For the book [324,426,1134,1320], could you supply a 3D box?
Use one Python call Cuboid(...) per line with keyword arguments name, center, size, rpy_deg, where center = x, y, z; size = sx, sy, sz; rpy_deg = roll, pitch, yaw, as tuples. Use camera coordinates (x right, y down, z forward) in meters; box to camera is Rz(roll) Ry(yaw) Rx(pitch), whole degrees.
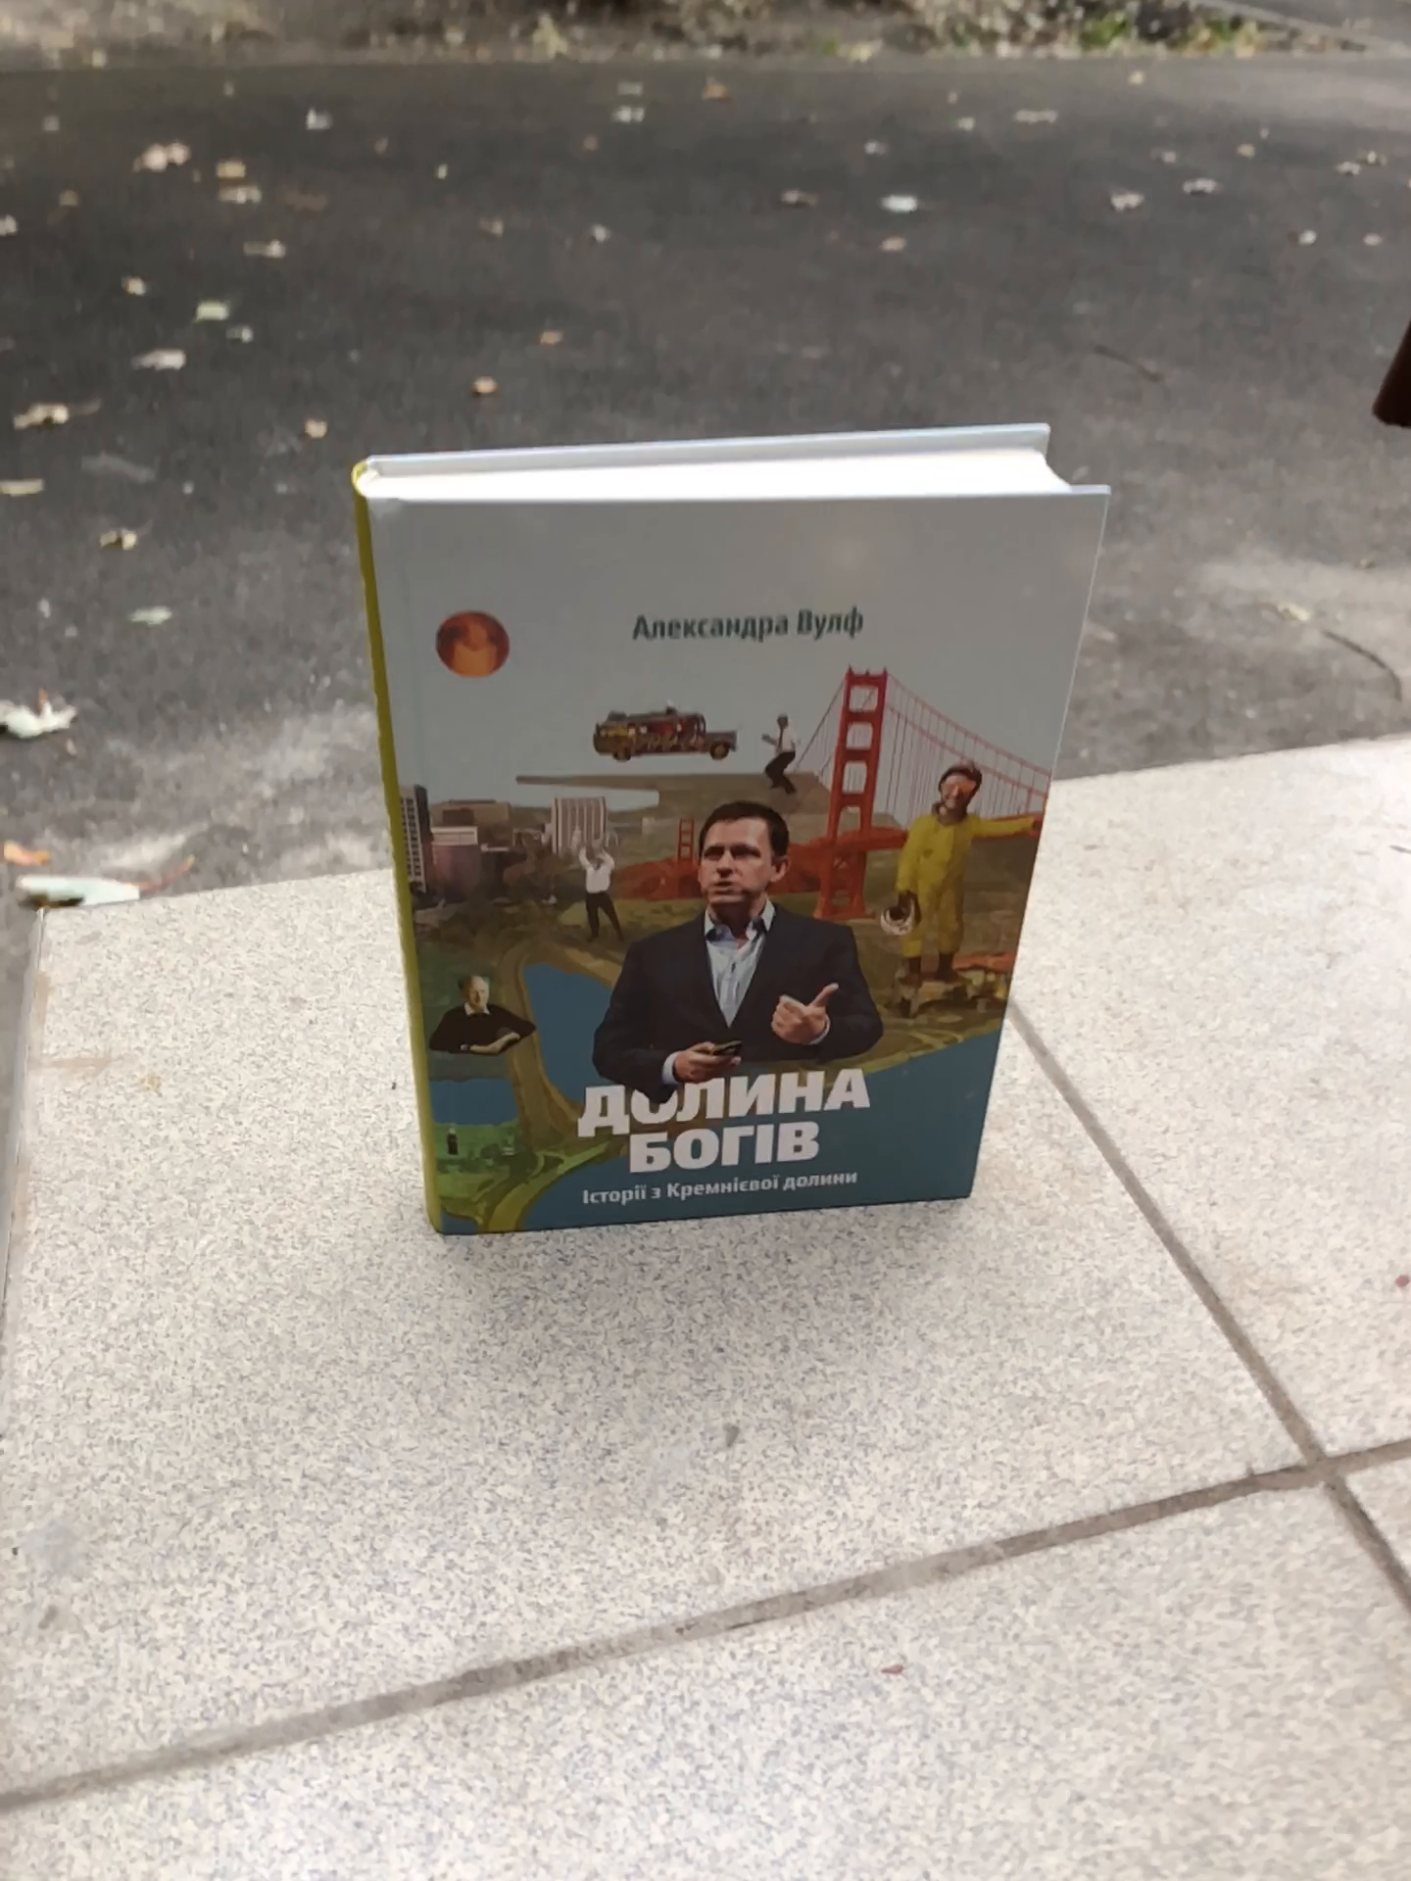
Cuboid(name="book", center=(0.003, -0.009, 0.378), size=(0.160, 0.207, 0.045), rpy_deg=(-7, 36, -12))
